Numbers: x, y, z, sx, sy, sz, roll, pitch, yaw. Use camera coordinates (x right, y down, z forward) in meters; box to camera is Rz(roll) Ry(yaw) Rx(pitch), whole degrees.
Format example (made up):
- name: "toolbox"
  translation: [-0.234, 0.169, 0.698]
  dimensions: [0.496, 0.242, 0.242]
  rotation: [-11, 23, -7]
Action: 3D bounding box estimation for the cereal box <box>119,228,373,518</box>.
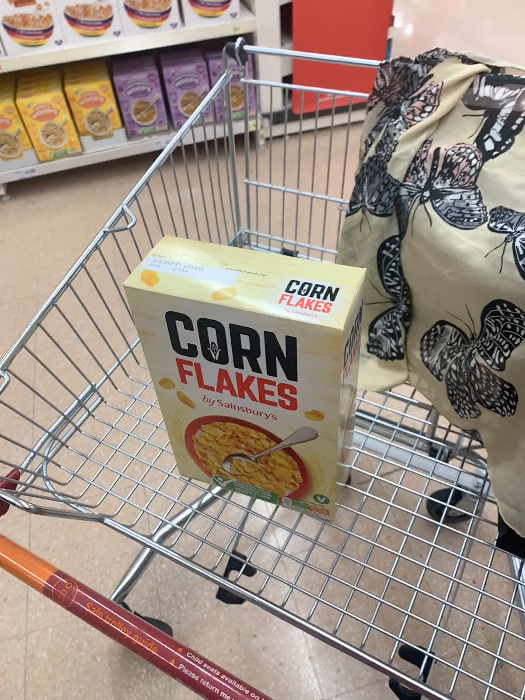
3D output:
- name: "cereal box"
  translation: [-0.006, 0.035, 0.535]
  dimensions: [0.190, 0.277, 0.081]
  rotation: [13, 47, 17]
